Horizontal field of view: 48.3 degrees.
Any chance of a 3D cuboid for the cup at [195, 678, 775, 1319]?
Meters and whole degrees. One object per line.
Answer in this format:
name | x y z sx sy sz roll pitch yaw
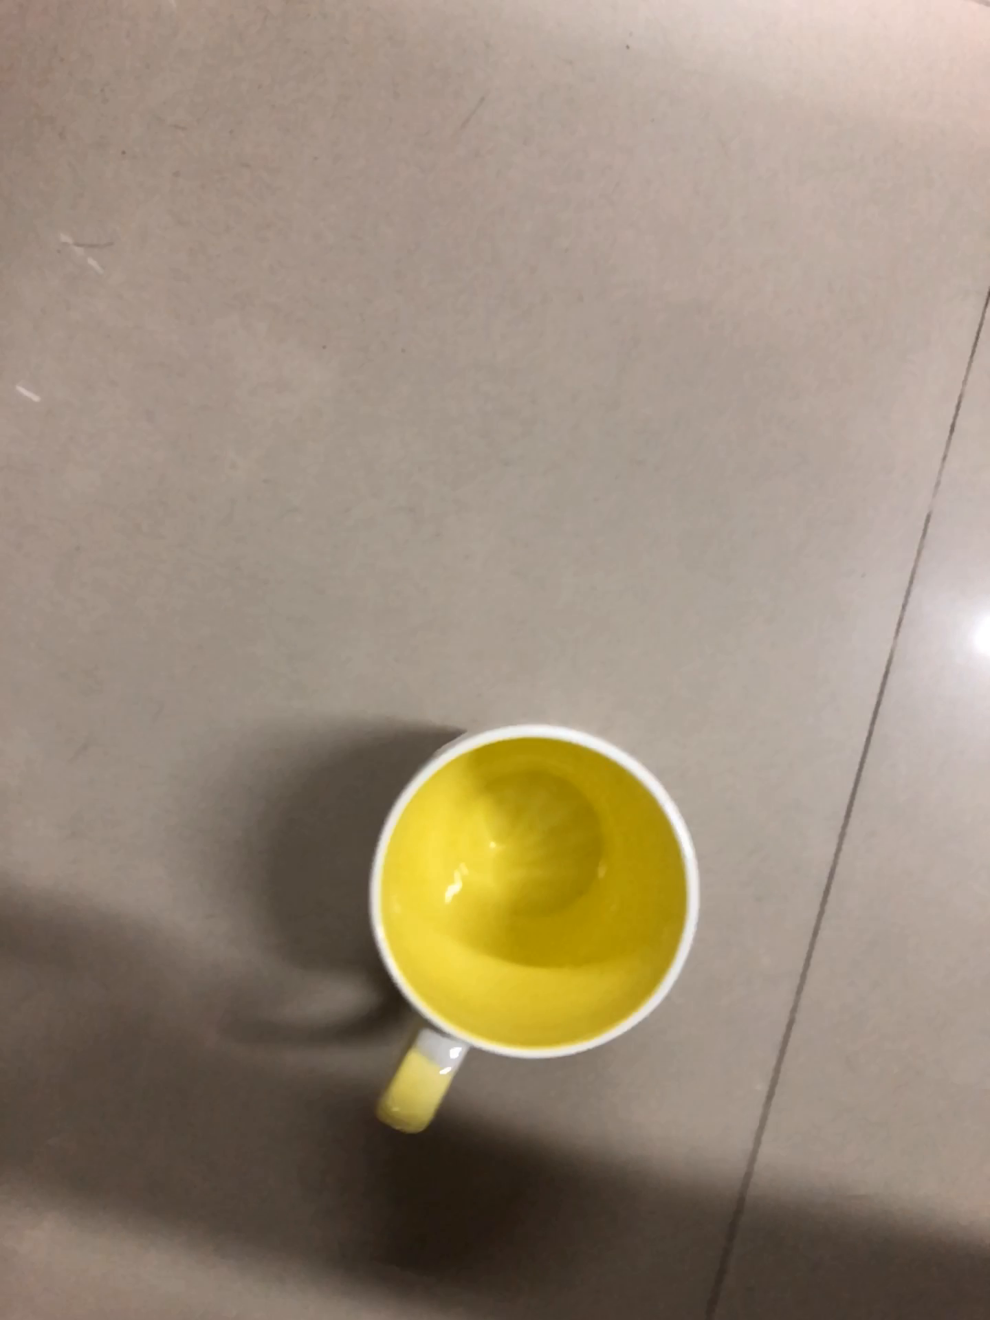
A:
cup | 0.000 0.078 0.282 0.080 0.080 0.120 28 89 4
